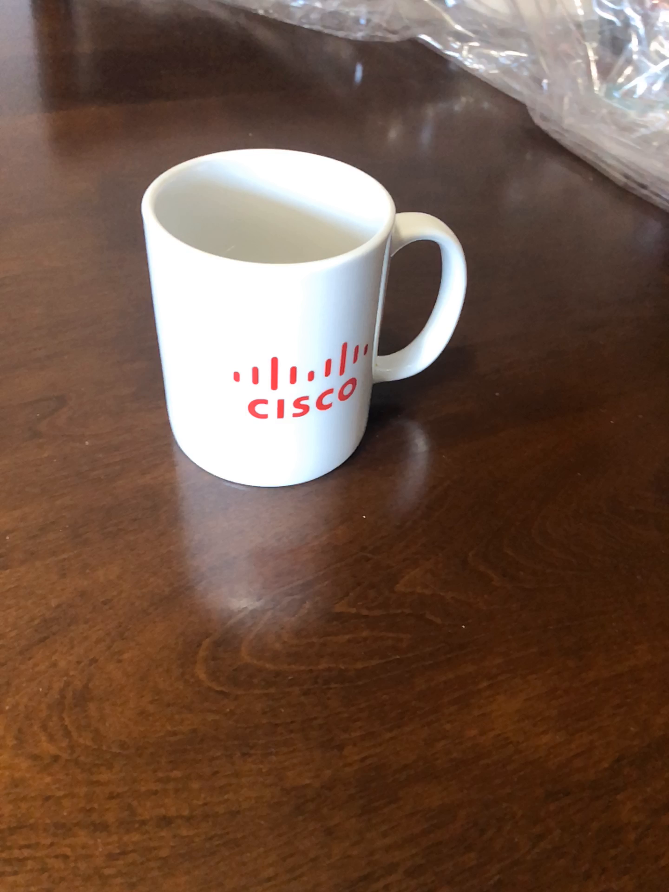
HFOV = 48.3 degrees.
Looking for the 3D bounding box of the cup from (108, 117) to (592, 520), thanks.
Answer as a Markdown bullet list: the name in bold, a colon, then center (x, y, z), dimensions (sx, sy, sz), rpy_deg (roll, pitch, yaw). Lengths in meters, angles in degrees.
- **cup**: center (0.001, -0.049, 0.264), dimensions (0.130, 0.090, 0.080), rpy_deg (-14, 47, -19)
